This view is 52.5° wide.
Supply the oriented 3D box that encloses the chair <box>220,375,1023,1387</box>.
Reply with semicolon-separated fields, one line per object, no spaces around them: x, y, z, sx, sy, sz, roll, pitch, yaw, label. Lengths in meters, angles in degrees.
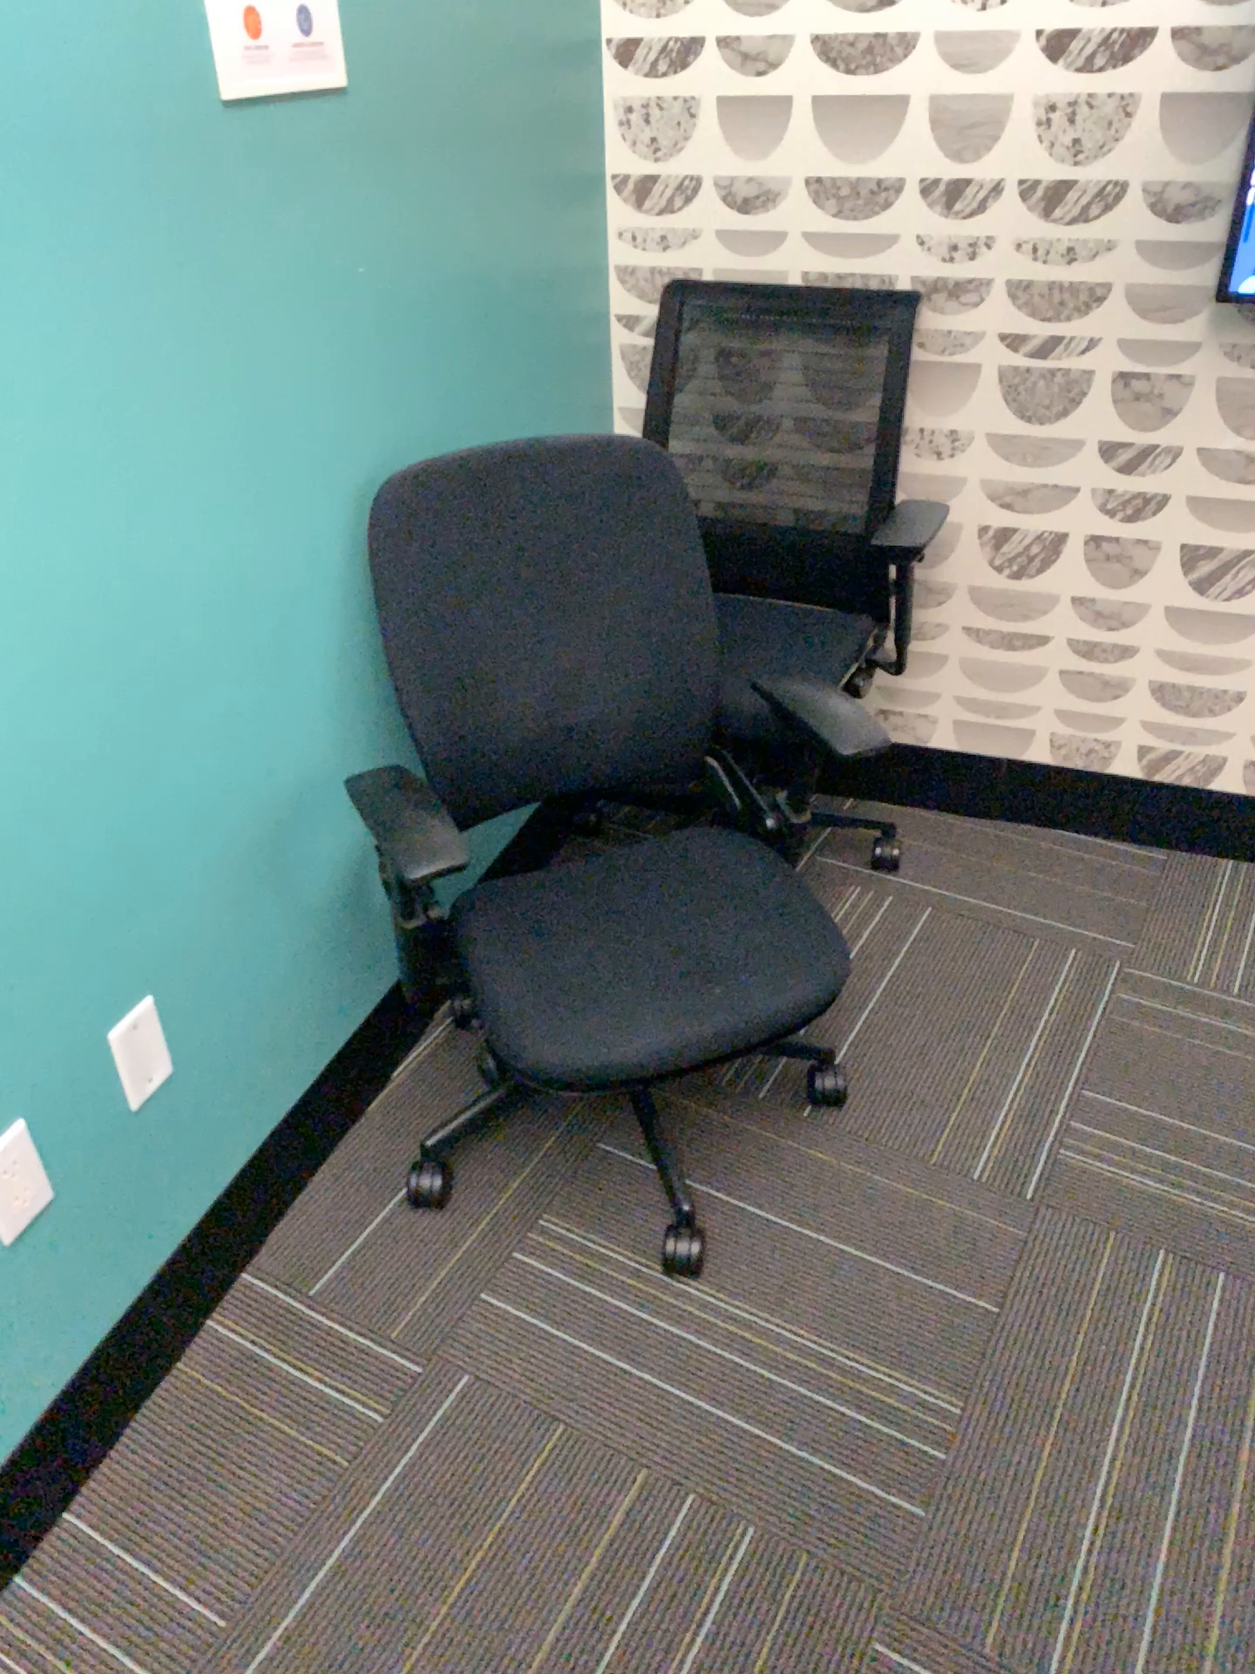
-0.056;-0.002;1.687;0.660;0.944;0.775;-14;35;-18;chair
